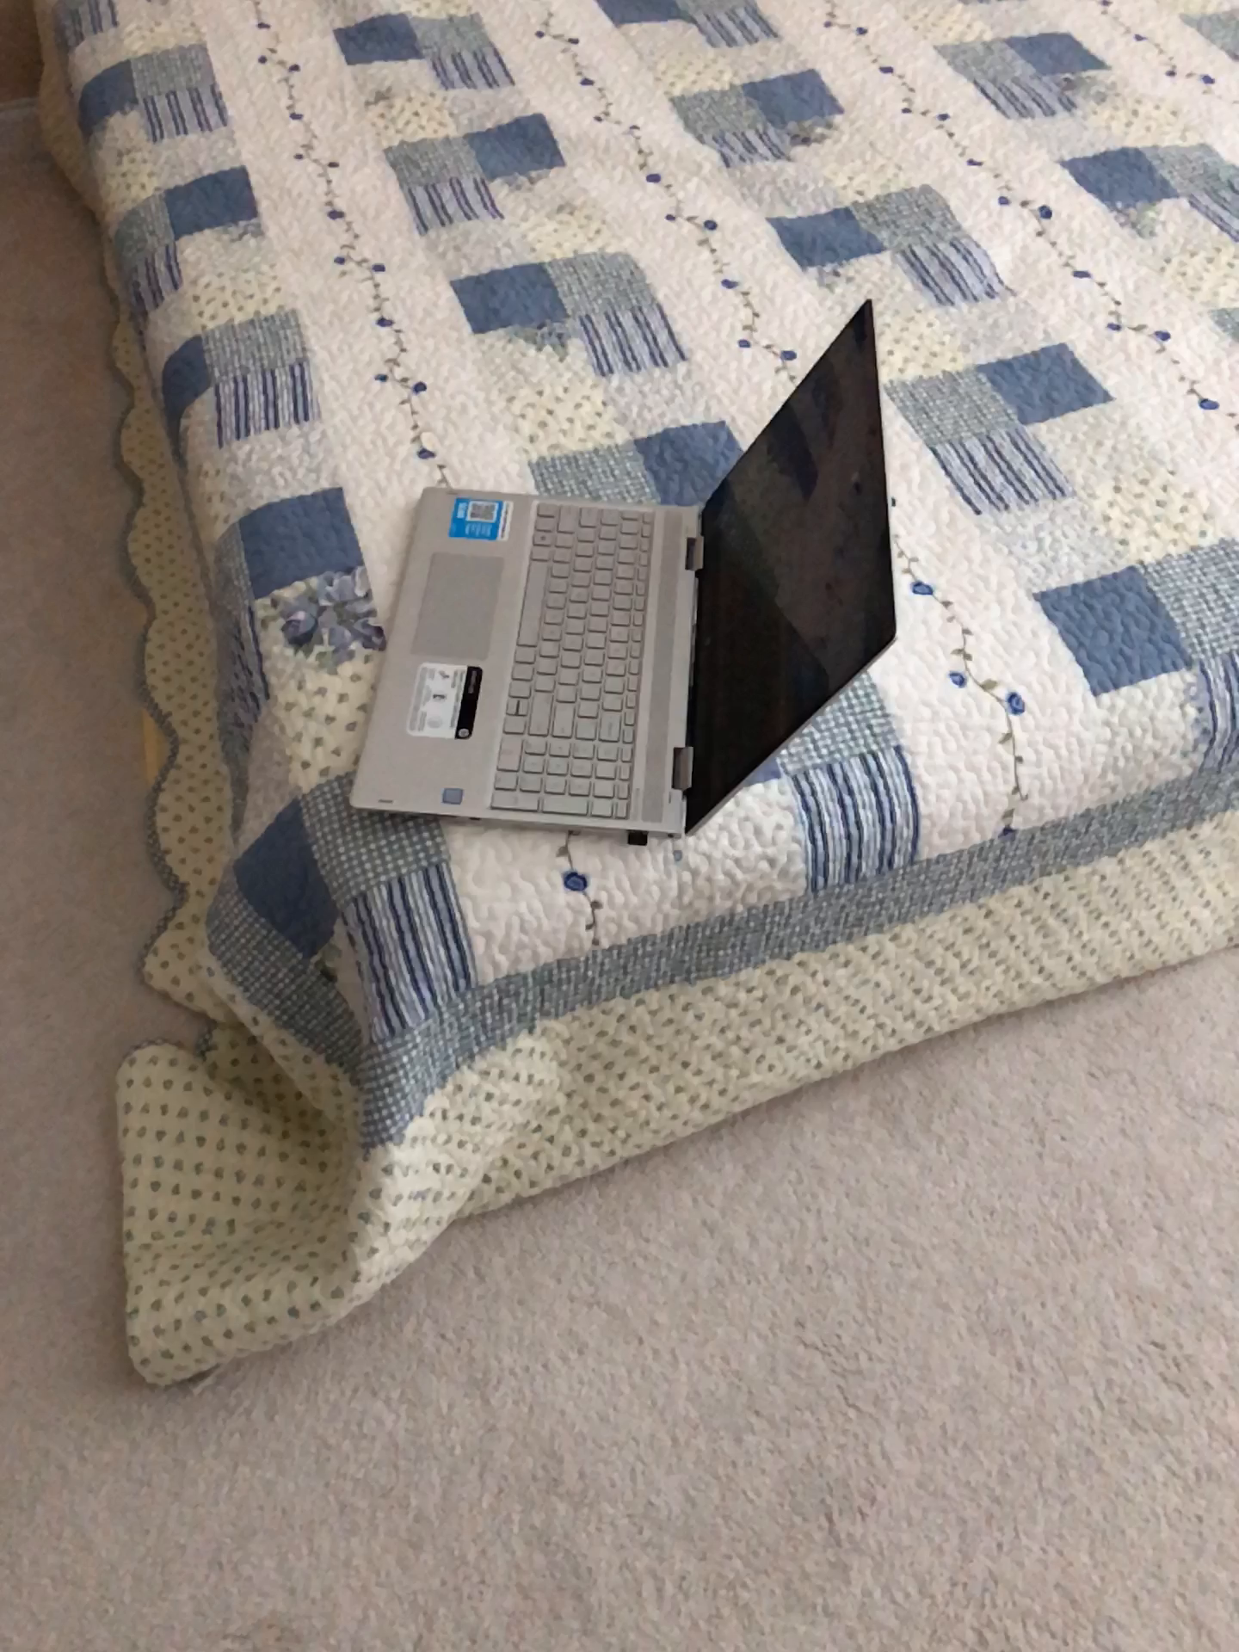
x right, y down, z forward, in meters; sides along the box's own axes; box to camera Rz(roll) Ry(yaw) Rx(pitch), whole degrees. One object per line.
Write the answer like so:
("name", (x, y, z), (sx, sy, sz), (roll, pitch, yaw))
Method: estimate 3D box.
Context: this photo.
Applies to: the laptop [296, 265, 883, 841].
("laptop", (-0.006, -0.210, 1.016), (0.357, 0.208, 0.356), (4, 53, 1))
